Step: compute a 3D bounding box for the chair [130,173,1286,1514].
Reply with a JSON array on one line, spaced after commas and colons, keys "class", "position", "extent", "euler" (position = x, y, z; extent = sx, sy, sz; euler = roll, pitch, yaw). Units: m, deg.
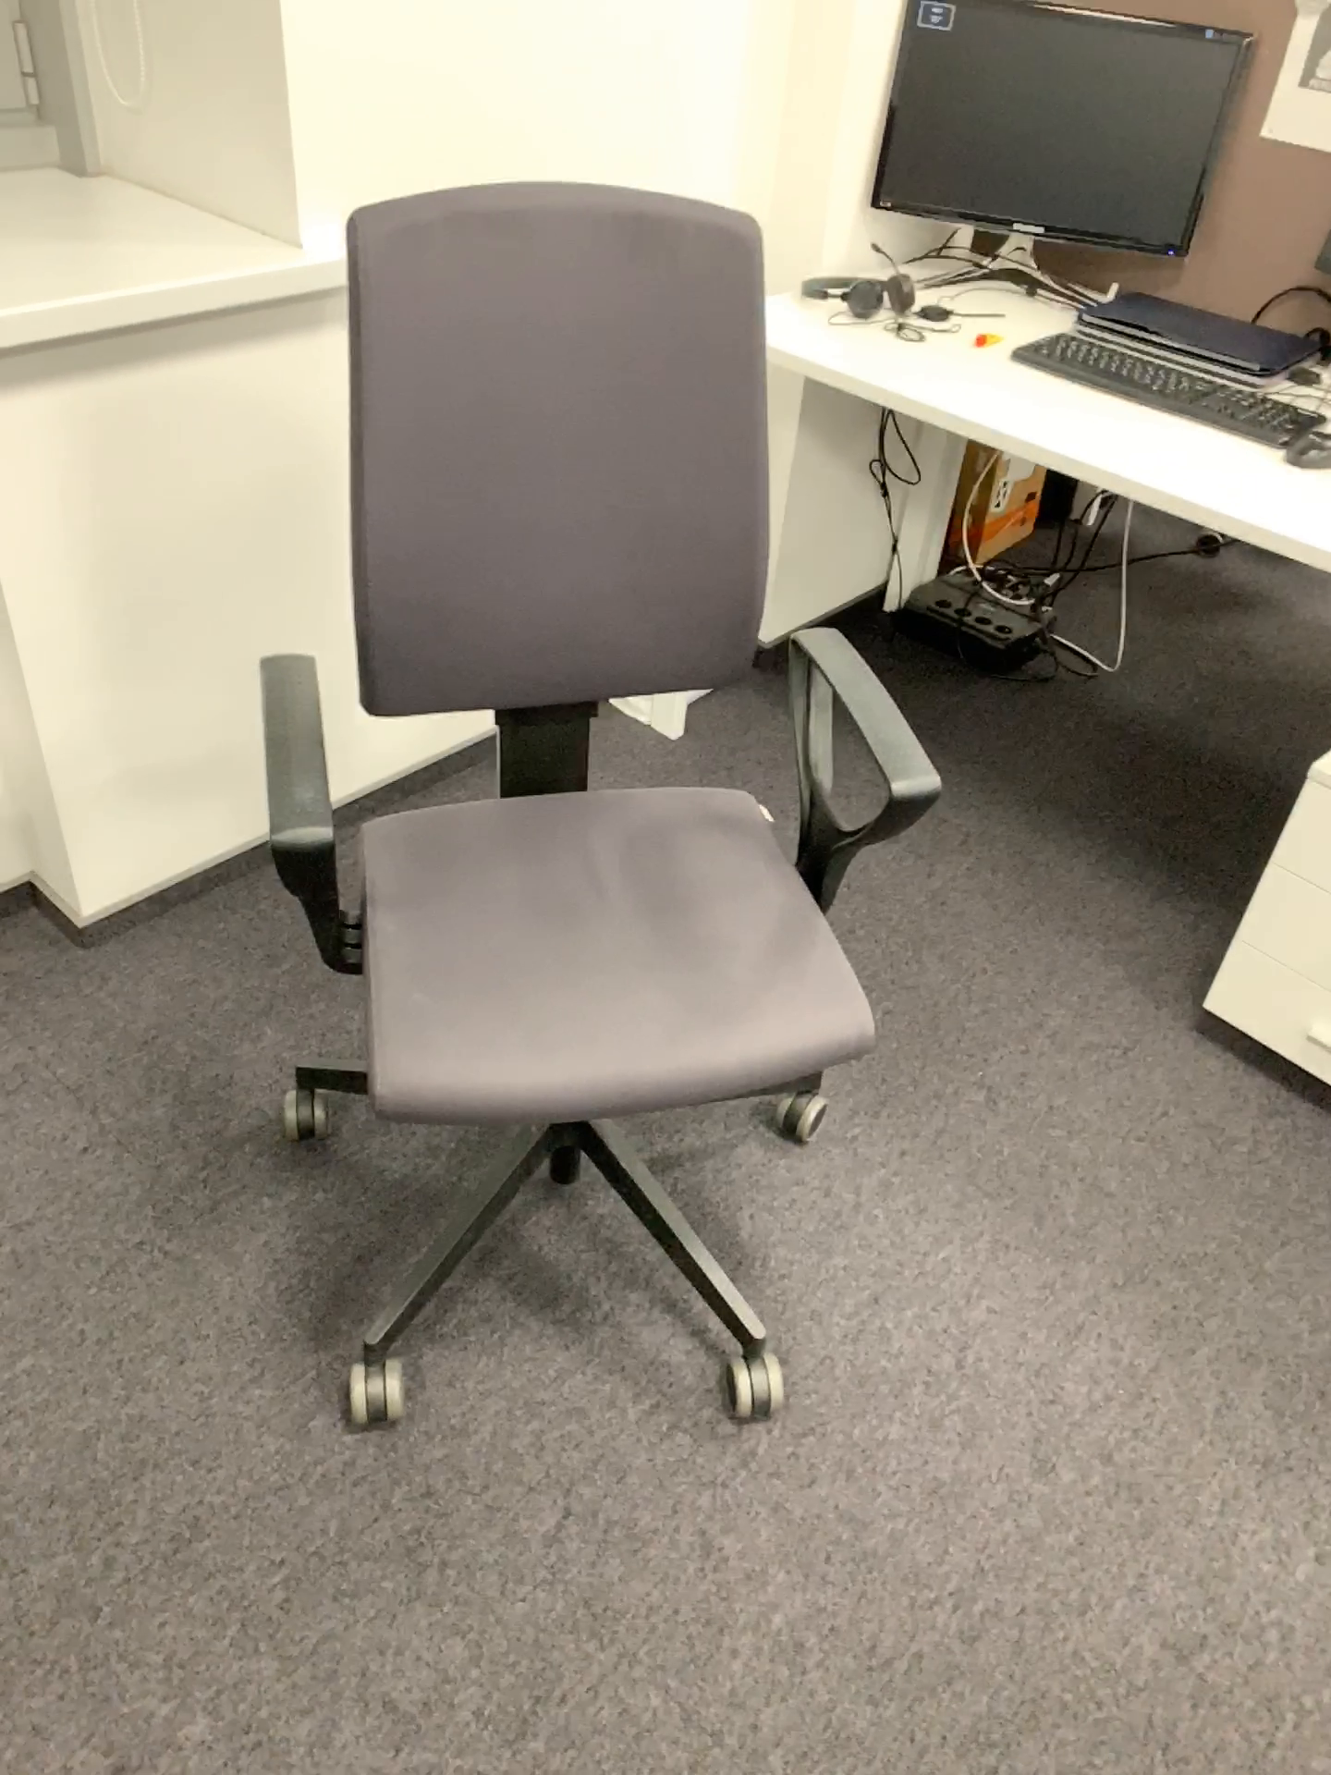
[{"class": "chair", "position": [-0.077, -0.055, 1.385], "extent": [0.701, 1.044, 0.753], "euler": [-5, 40, -15]}]
